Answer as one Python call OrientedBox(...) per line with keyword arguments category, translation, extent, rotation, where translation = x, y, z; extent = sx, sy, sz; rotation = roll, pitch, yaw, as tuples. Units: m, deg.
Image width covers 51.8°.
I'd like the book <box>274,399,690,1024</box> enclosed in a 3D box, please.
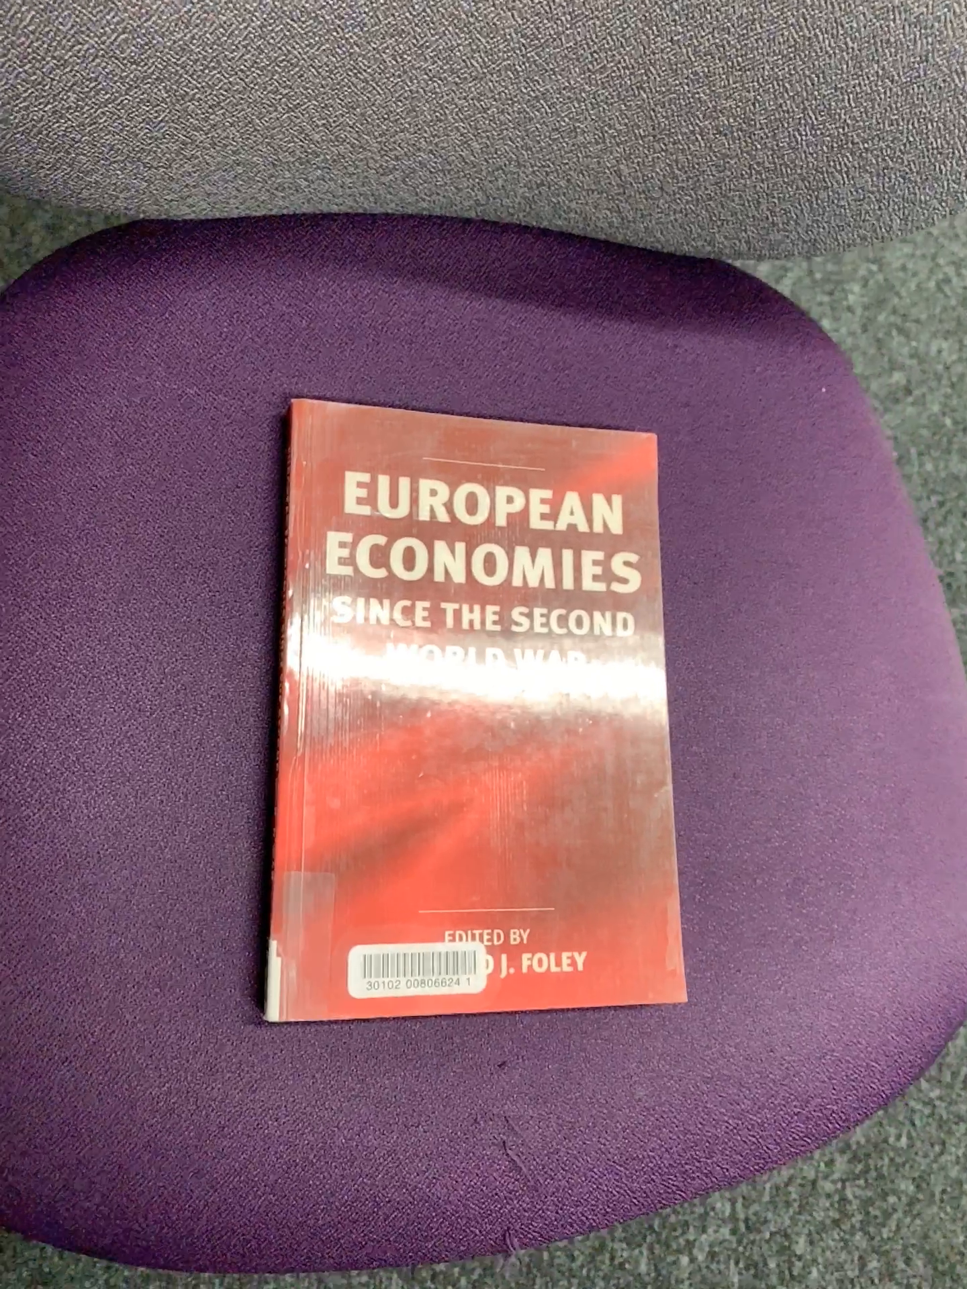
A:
OrientedBox(category="book", translation=(0.000, 0.021, 0.380), extent=(0.148, 0.020, 0.225), rotation=(2, 77, -13))
